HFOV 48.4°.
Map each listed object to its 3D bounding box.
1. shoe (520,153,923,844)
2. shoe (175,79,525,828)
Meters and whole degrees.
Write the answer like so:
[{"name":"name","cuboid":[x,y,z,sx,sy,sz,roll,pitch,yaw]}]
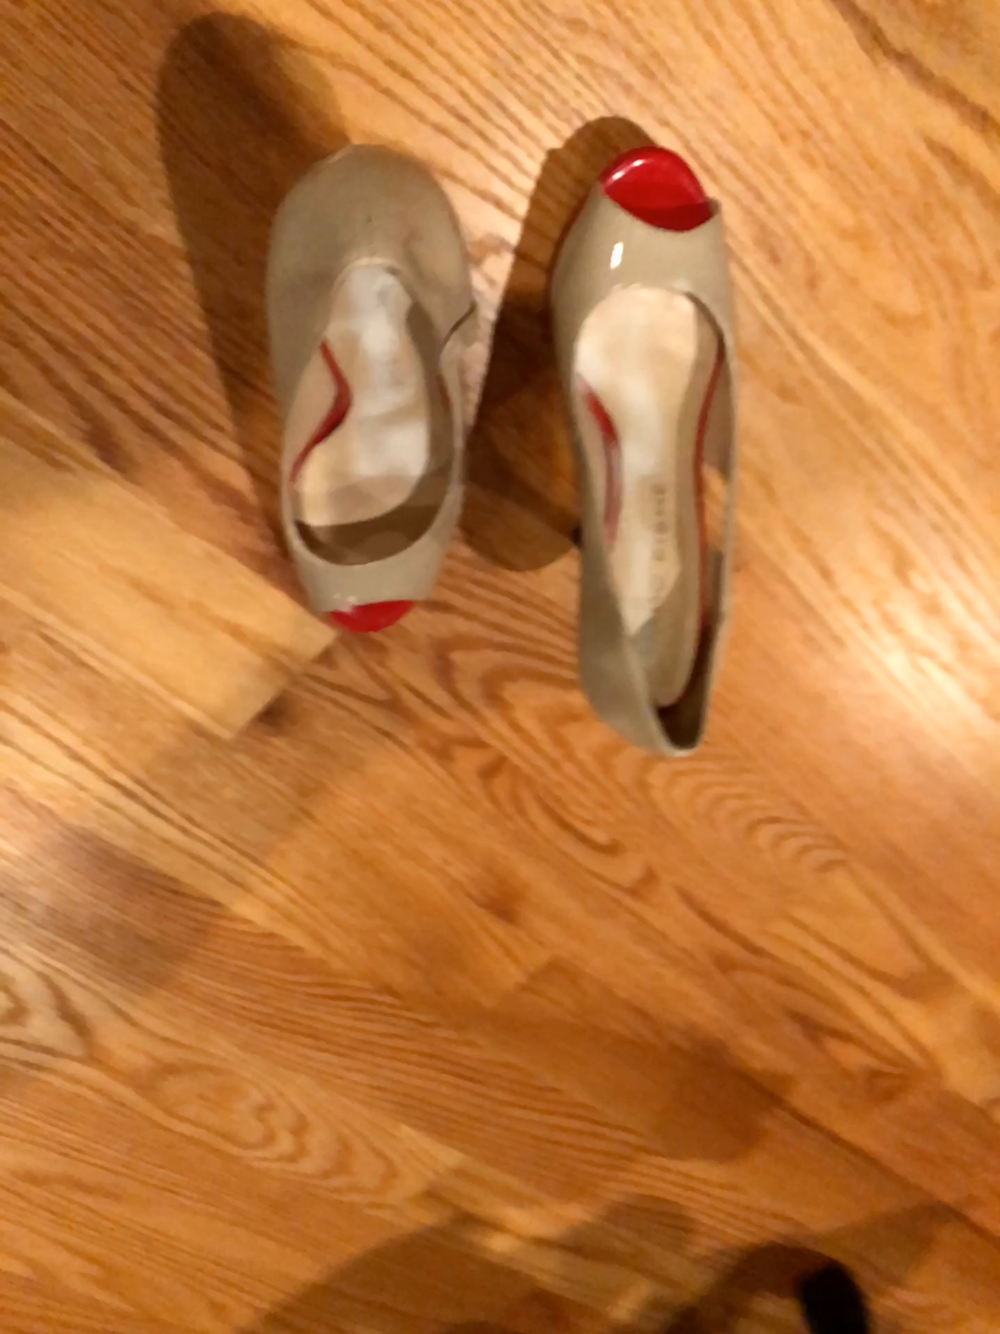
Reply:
[{"name":"shoe","cuboid":[0.065,-0.069,0.432,0.080,0.150,0.220,-4,122,-9]},{"name":"shoe","cuboid":[-0.054,-0.073,0.382,0.085,0.130,0.215,-2,121,-10]}]
